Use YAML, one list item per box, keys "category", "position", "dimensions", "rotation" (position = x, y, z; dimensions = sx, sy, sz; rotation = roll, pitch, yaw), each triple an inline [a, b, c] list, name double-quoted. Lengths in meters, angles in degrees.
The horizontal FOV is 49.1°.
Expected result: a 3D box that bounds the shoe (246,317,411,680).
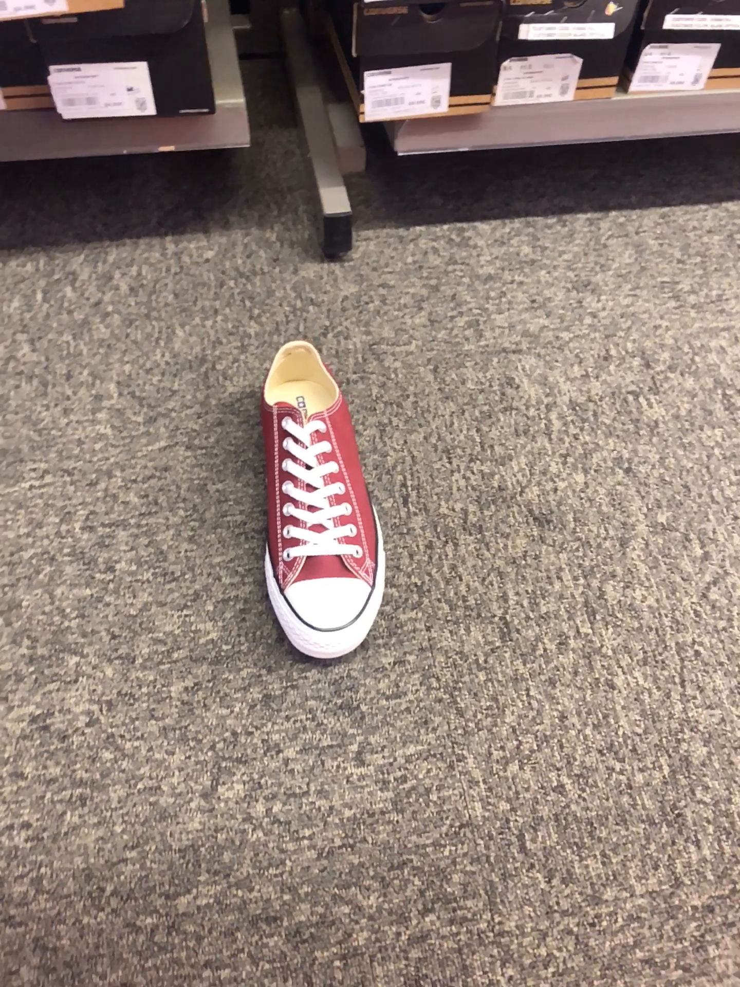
- category: "shoe"
  position: [-0.040, -0.005, 0.654]
  dimensions: [0.100, 0.090, 0.281]
  rotation: [-5, 58, -5]
